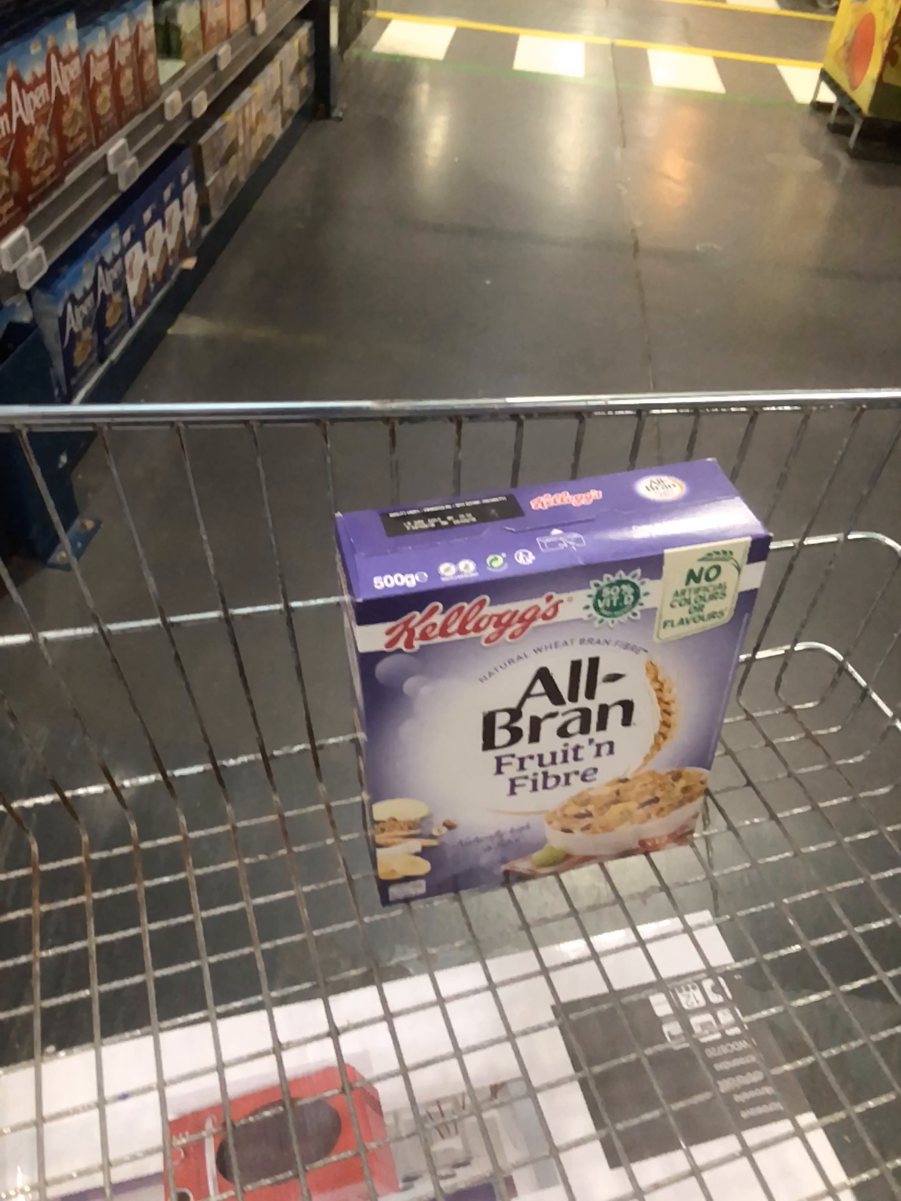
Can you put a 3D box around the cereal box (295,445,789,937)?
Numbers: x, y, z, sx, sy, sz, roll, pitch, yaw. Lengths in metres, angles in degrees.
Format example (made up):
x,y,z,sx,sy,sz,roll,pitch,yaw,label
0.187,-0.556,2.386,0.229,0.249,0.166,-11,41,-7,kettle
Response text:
x,y,z,sx,sy,sz,roll,pitch,yaw,label
0.036,0.053,0.488,0.190,0.229,0.070,-10,44,-11,cereal box
